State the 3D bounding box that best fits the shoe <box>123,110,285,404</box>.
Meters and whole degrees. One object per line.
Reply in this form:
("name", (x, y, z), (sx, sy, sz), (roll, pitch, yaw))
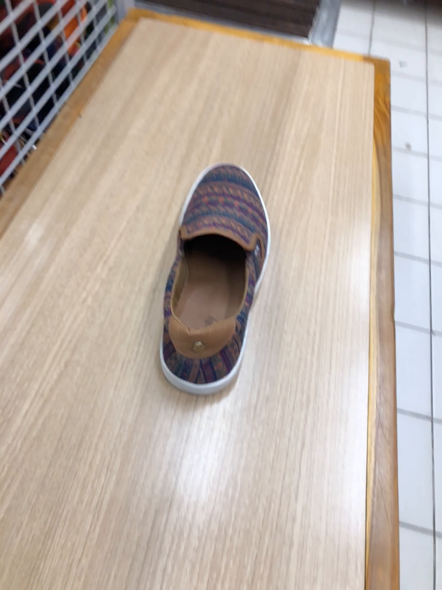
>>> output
("shoe", (-0.005, -0.049, 0.463), (0.100, 0.089, 0.272), (9, 54, 0))
